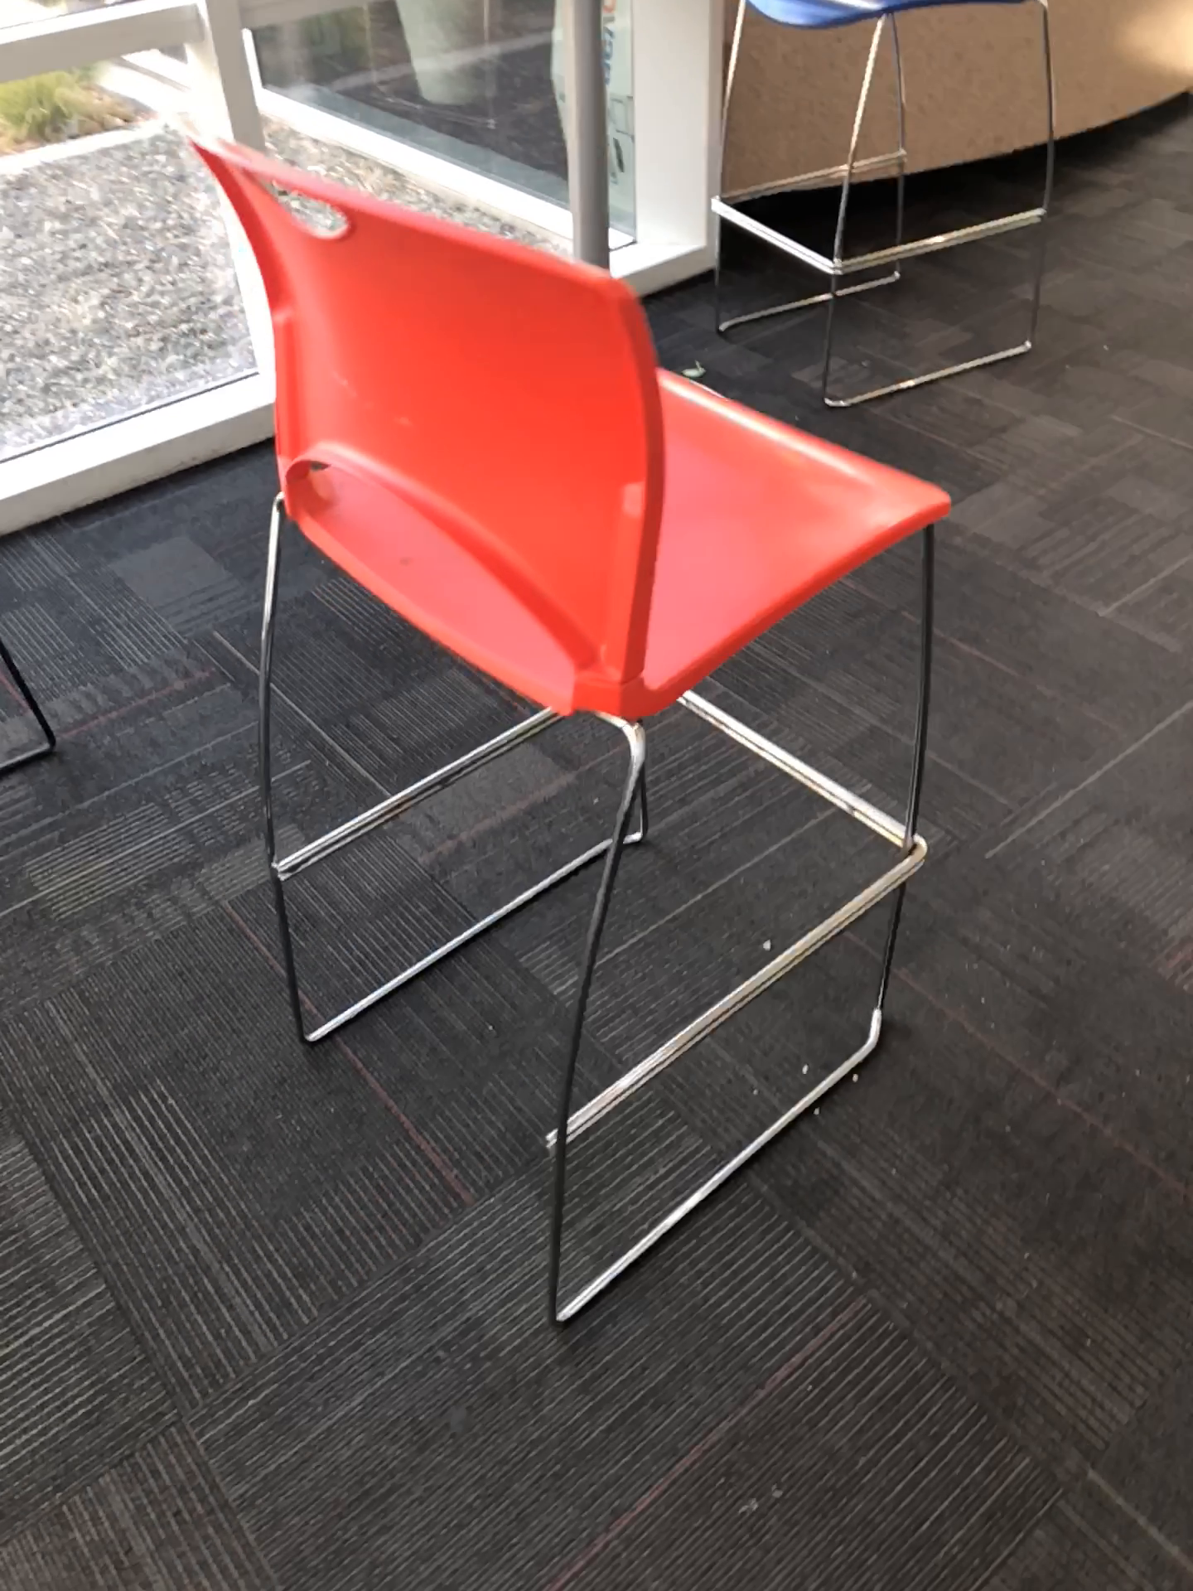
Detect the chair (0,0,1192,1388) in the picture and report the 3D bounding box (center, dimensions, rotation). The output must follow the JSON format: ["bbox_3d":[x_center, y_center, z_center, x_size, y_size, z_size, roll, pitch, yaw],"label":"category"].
[{"bbox_3d":[-0.018,-0.117,1.224,0.661,0.995,0.592,-34,50,-30],"label":"chair"}]
